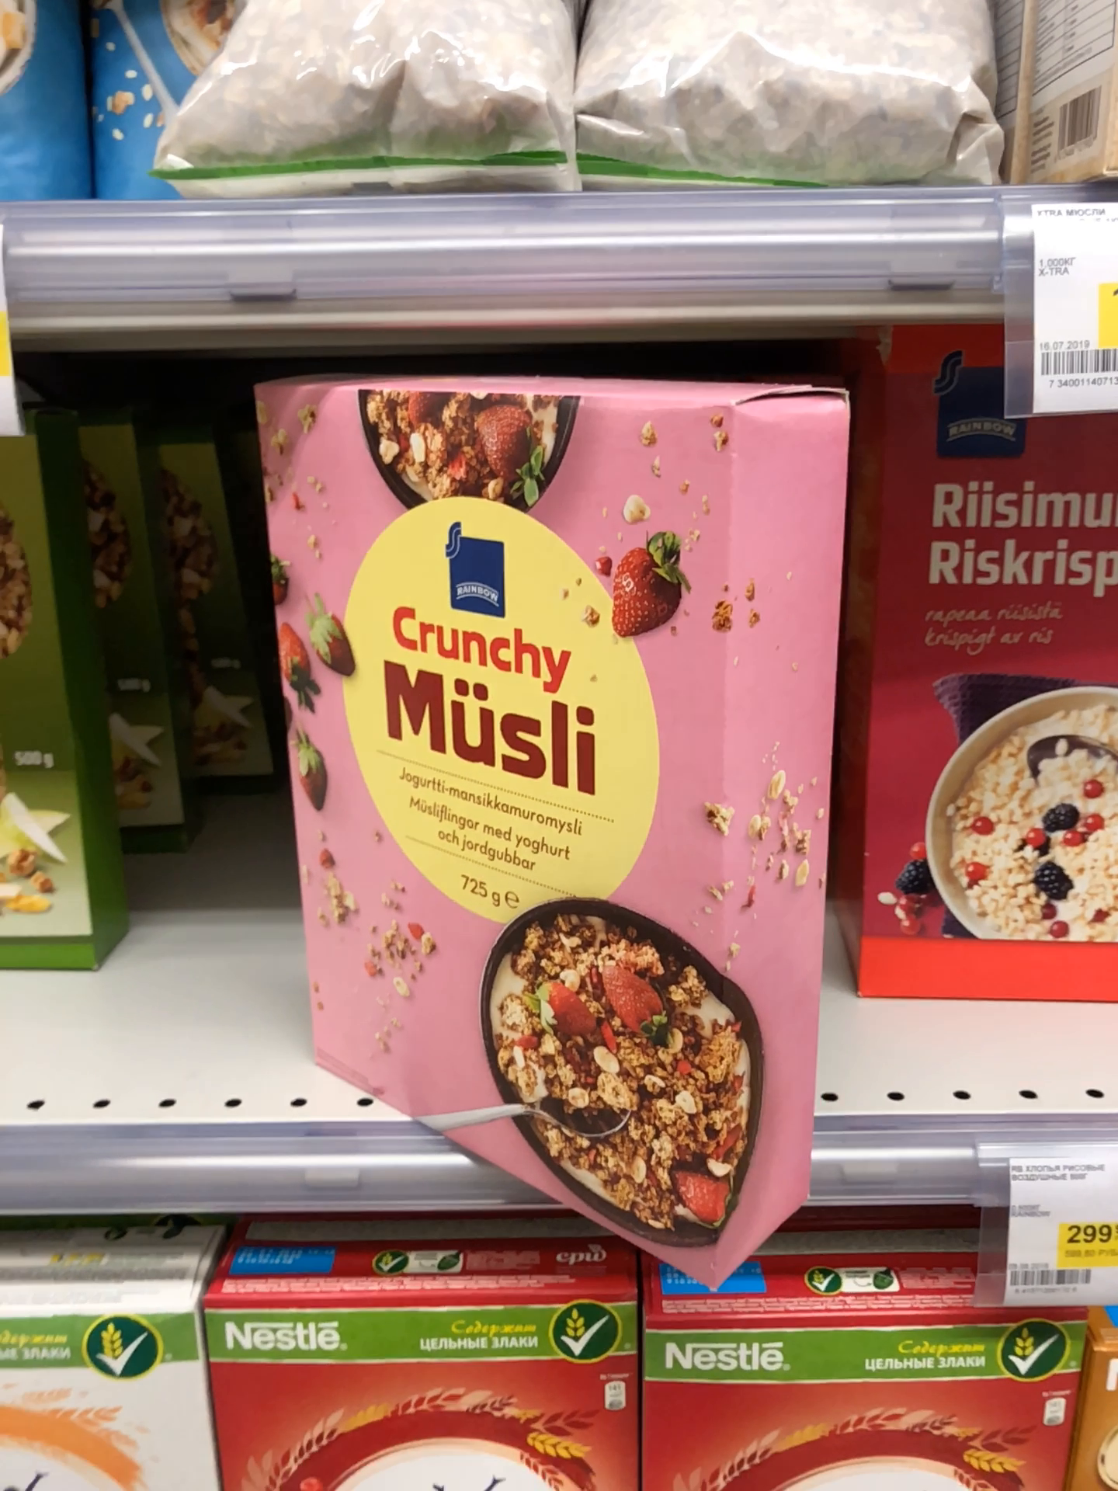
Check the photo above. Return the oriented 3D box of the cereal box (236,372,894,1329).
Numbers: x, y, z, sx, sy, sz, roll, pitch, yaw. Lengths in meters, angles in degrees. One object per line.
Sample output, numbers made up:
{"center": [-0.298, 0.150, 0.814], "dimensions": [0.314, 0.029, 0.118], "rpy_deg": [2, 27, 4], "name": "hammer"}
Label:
{"center": [-0.007, 0.017, 0.400], "dimensions": [0.200, 0.259, 0.060], "rpy_deg": [15, 24, 39], "name": "cereal box"}
